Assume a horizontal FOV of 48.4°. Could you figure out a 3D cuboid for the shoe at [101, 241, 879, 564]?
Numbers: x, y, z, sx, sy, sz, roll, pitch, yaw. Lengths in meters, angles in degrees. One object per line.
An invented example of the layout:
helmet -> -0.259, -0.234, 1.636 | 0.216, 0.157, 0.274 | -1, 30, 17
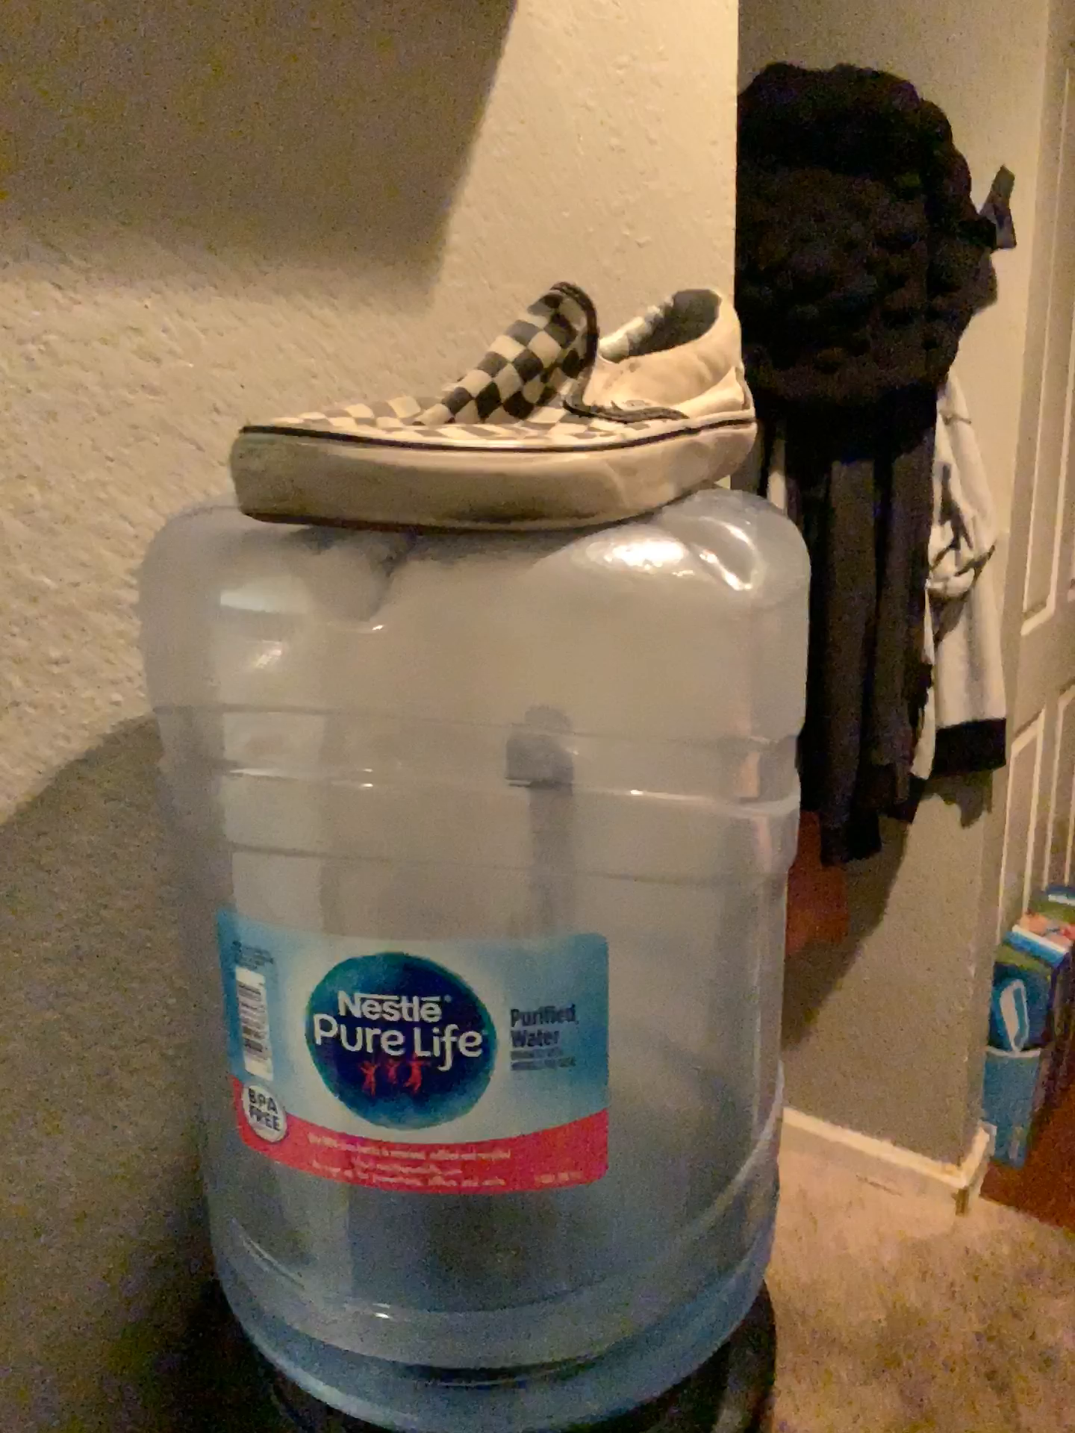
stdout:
shoe -> 0.004, -0.123, 0.448 | 0.130, 0.080, 0.280 | 12, 22, 38
